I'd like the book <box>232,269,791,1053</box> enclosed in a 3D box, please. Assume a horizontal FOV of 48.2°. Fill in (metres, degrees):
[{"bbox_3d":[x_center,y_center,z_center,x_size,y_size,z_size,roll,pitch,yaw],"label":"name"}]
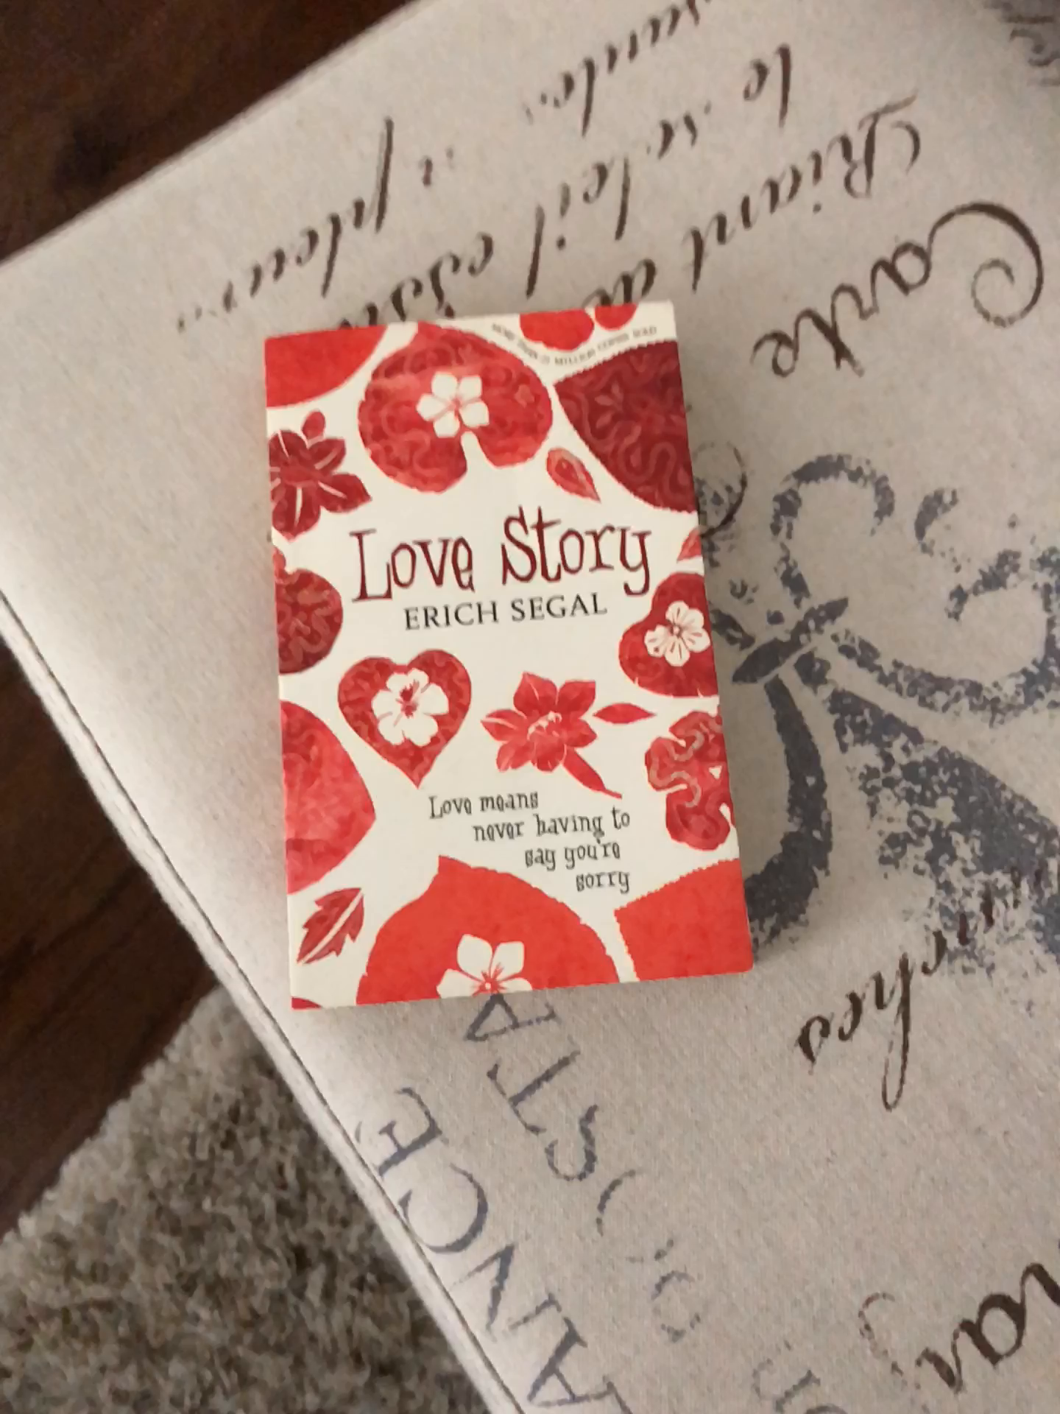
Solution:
[{"bbox_3d":[-0.009,-0.016,0.299,0.120,0.020,0.188,-5,77,-1],"label":"book"}]
